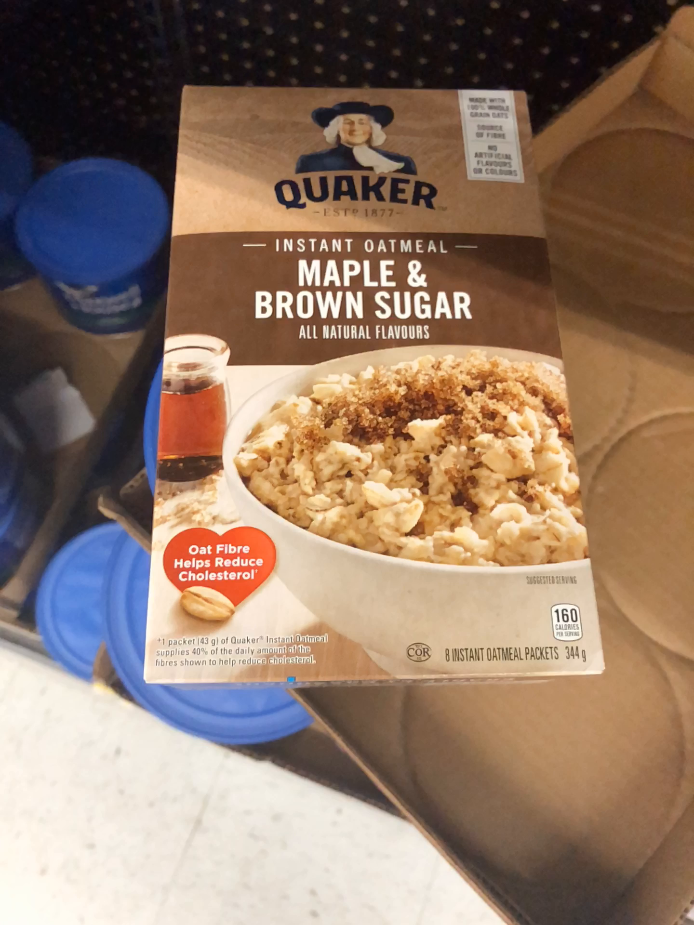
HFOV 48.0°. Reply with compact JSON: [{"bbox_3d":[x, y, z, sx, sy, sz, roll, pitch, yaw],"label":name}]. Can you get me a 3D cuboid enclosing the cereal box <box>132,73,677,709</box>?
[{"bbox_3d":[0.012,-0.024,0.264,0.140,0.070,0.200,-1,72,-3],"label":"cereal box"}]
